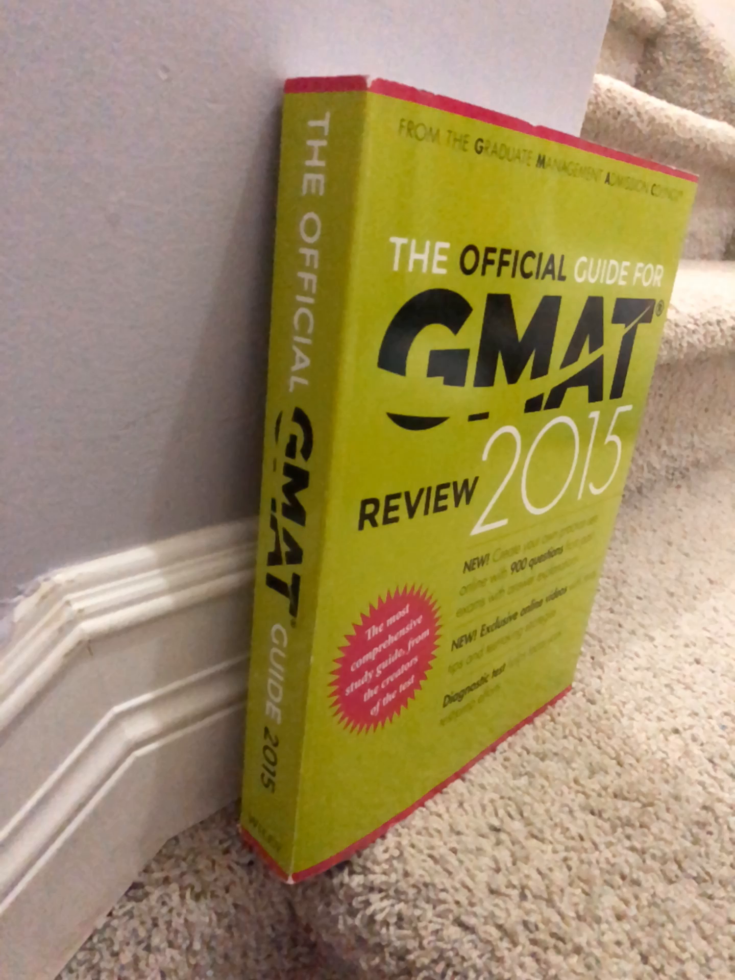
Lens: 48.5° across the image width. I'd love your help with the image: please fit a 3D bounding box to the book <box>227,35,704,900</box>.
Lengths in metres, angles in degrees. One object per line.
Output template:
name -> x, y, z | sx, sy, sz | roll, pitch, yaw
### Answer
book -> 0.051, -0.011, 0.348 | 0.040, 0.277, 0.236 | 20, 23, 37
